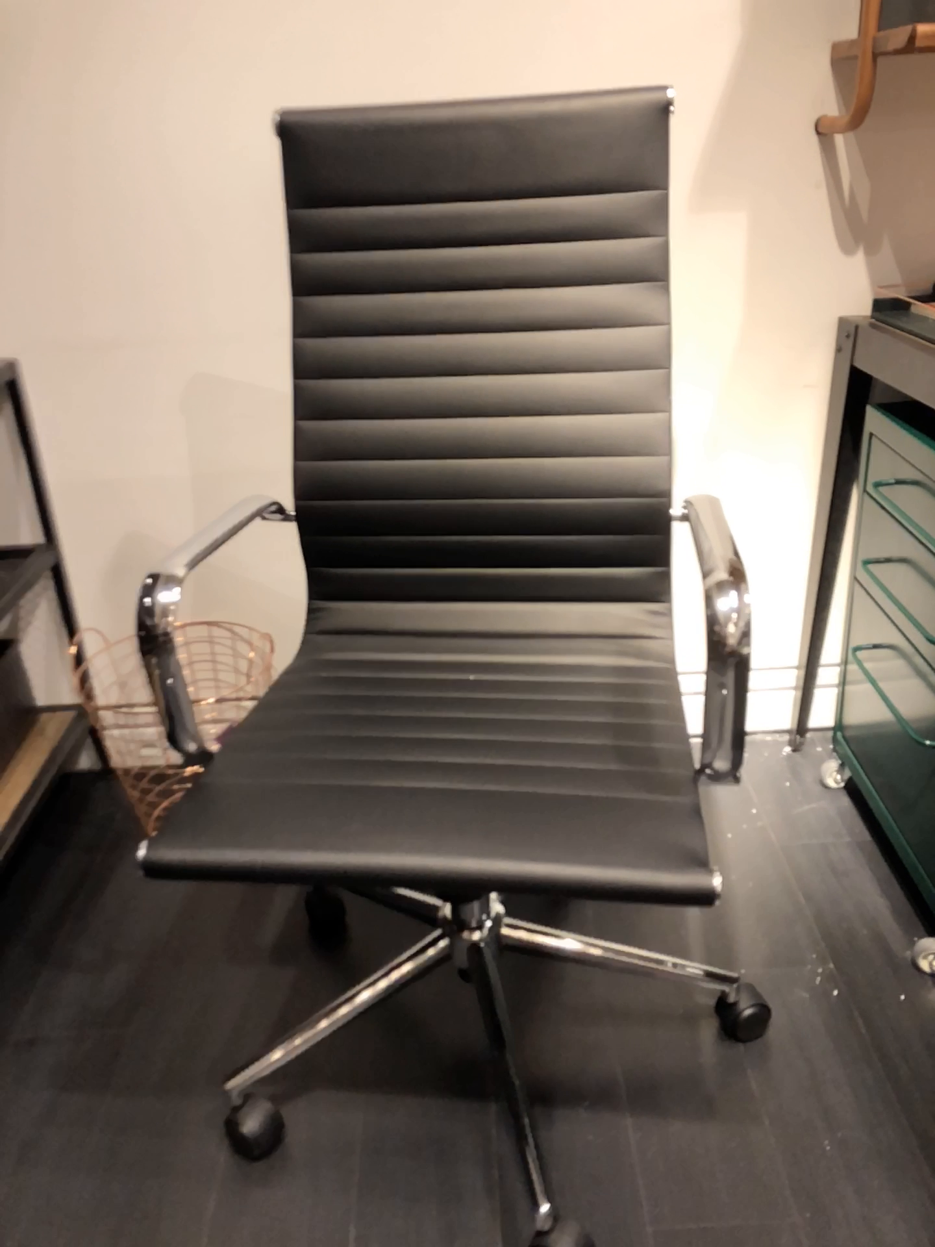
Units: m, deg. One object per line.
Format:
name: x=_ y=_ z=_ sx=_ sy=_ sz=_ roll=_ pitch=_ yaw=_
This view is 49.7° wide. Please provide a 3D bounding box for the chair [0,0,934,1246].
chair: x=0.017 y=0.013 z=1.057 sx=0.680 sy=1.053 sz=0.665 roll=0 pitch=25 yaw=8
